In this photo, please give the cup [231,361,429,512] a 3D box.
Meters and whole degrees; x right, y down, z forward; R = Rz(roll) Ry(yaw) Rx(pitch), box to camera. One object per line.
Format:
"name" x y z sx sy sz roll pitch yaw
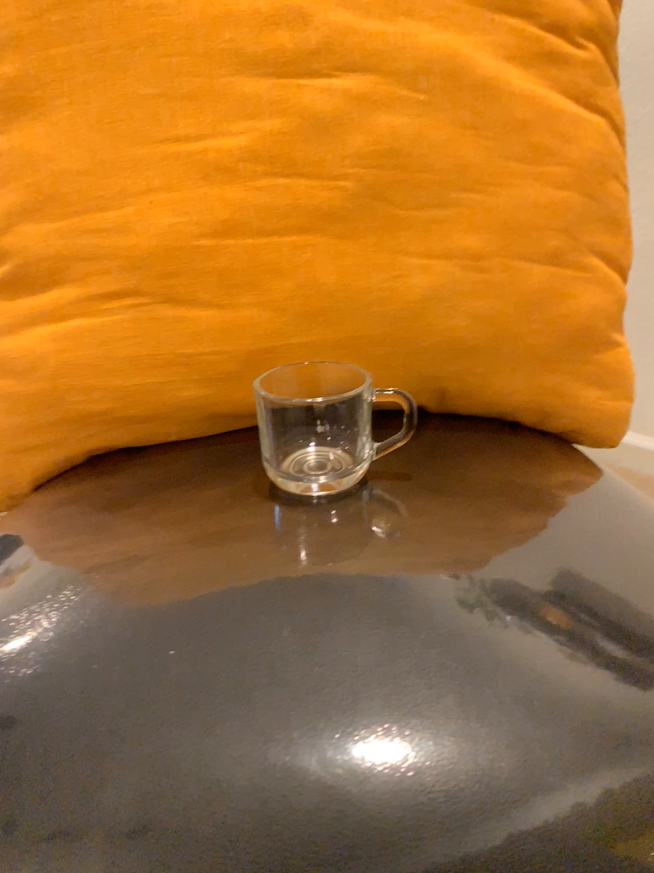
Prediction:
"cup" 0.003 -0.002 0.383 0.100 0.060 0.071 -1 24 2
